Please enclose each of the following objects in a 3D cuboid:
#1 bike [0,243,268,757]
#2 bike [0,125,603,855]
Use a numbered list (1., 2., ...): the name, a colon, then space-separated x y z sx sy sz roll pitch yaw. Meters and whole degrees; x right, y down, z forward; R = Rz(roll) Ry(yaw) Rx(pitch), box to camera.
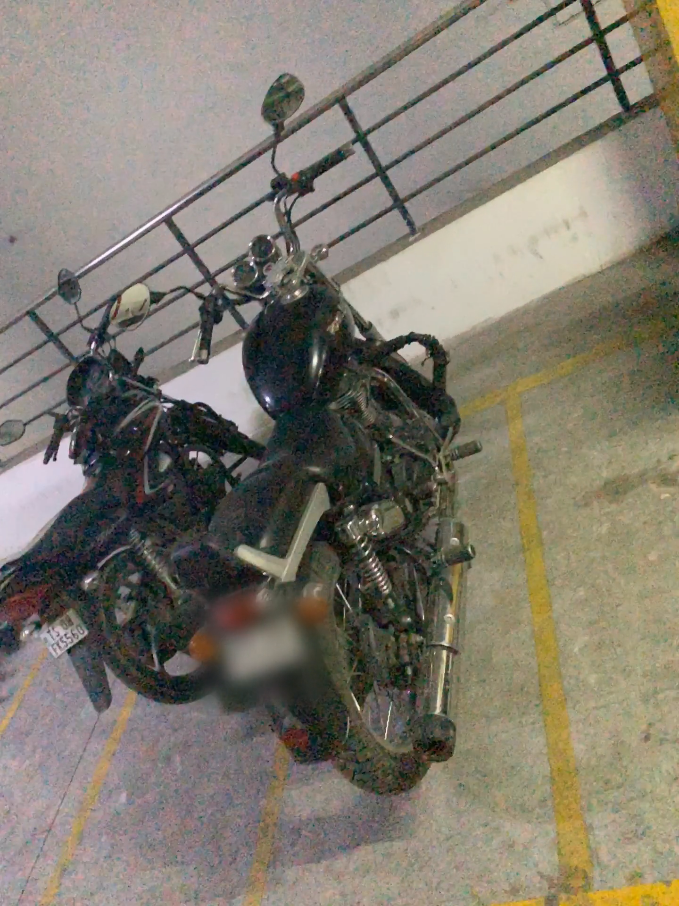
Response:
1. bike: -1.005 0.142 2.926 0.721 1.276 1.569 -25 32 21
2. bike: -0.129 -0.051 2.140 0.853 1.231 1.804 -27 29 18
